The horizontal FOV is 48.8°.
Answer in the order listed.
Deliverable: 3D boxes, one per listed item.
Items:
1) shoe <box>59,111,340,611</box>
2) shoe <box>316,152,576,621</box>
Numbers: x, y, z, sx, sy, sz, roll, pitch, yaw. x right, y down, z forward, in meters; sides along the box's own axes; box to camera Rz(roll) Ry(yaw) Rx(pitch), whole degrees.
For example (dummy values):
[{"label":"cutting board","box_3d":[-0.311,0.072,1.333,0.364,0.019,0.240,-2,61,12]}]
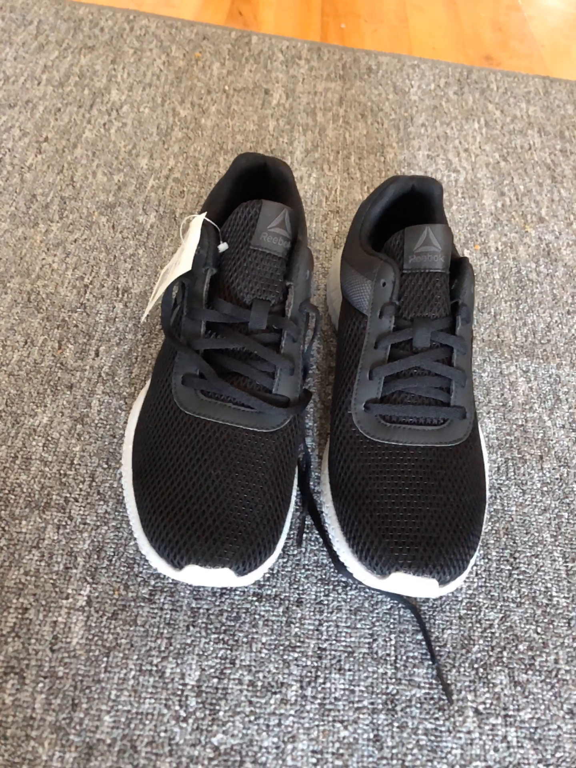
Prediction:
[{"label":"shoe","box_3d":[-0.035,-0.033,0.393,0.116,0.099,0.302,7,53,-4]},{"label":"shoe","box_3d":[0.082,-0.015,0.420,0.110,0.099,0.302,5,53,-5]}]
